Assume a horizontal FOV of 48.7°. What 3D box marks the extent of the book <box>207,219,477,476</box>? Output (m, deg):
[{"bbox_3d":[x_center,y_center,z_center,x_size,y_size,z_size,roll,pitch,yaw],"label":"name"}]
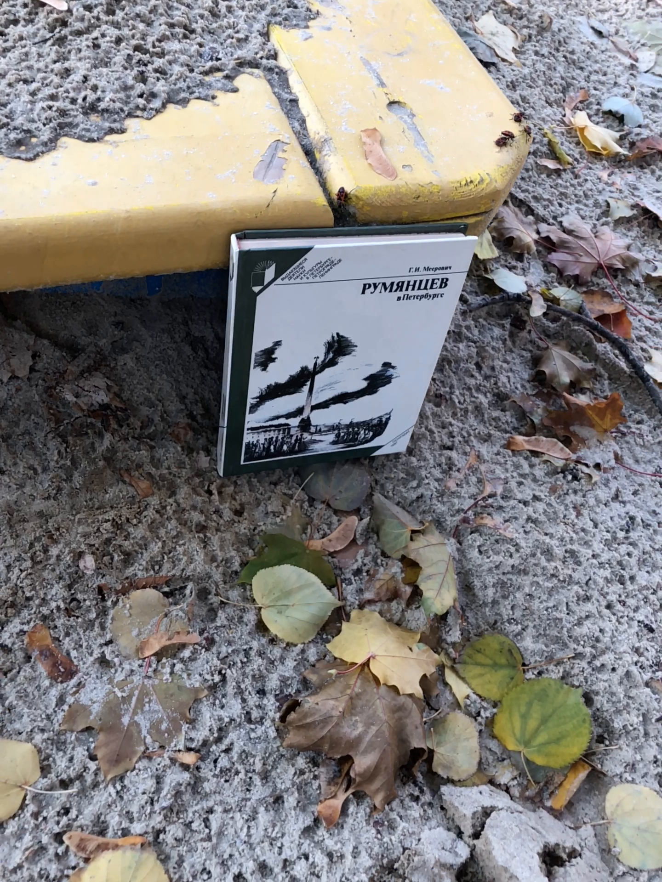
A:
[{"bbox_3d":[0.002,-0.050,0.432,0.140,0.155,0.020,-6,42,-12],"label":"book"}]
